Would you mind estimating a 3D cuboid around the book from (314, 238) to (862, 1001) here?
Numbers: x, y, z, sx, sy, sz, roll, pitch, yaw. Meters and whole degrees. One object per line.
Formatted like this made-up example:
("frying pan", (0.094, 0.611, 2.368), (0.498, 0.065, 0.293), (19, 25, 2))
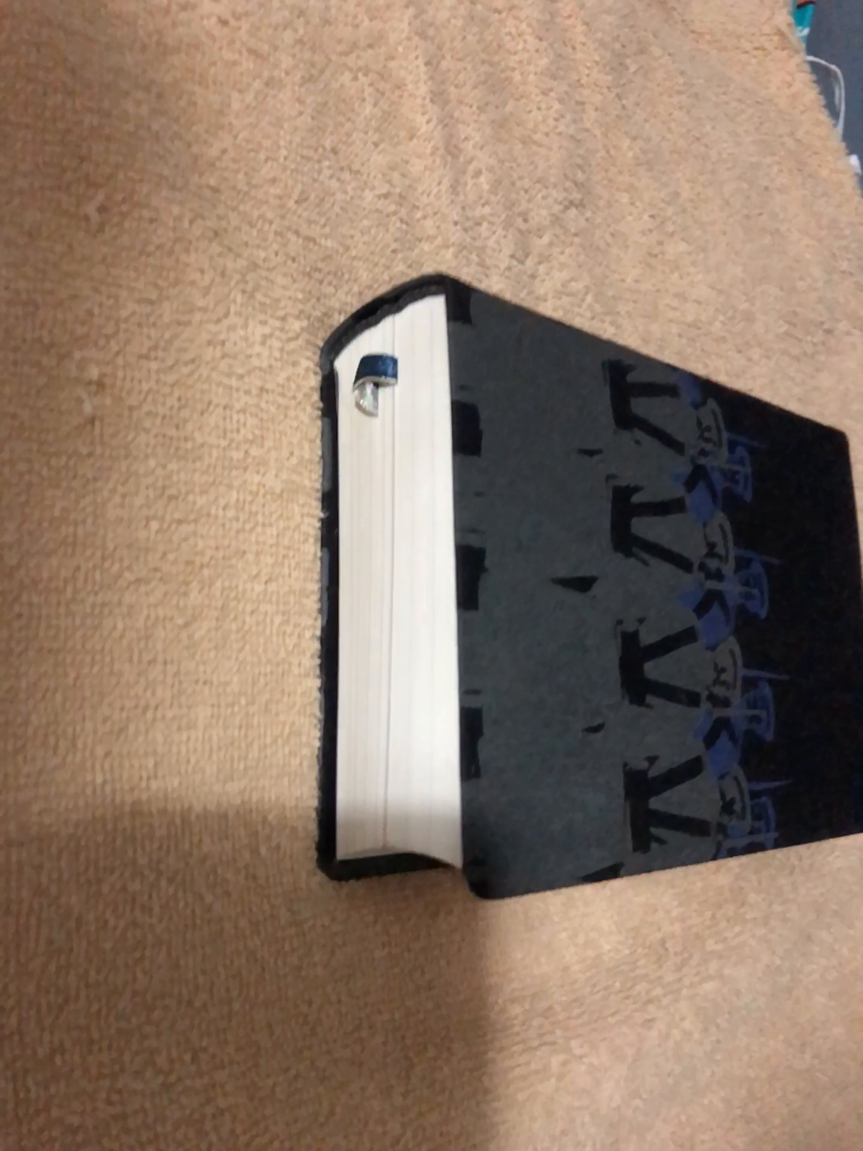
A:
("book", (0.063, 0.016, 0.256), (0.191, 0.050, 0.140), (7, 76, -41))
